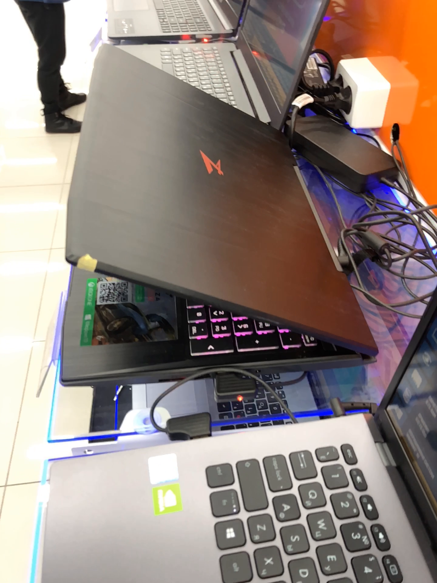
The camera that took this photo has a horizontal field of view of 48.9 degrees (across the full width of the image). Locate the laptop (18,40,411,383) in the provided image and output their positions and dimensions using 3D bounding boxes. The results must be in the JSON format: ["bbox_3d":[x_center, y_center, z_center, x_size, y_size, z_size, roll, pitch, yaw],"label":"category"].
[{"bbox_3d":[-0.023,-0.111,0.465,0.243,0.121,0.366,-5,45,-5],"label":"laptop"}]

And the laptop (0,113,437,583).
[{"bbox_3d":[0.028,0.146,0.132,0.230,0.216,0.353,-8,44,-8],"label":"laptop"}]

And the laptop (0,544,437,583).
[{"bbox_3d":[0.029,0.398,0.278,0.229,0.240,0.360,-5,44,-4],"label":"laptop"}]

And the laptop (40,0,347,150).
[{"bbox_3d":[-0.039,-0.416,0.698,0.318,0.228,0.360,-5,46,-6],"label":"laptop"}]

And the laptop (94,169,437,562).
[{"bbox_3d":[0.017,0.071,0.618,0.286,0.256,0.396,-5,44,-5],"label":"laptop"}]

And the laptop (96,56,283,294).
[{"bbox_3d":[-0.068,-0.242,0.936,0.272,0.270,0.408,-4,45,-6],"label":"laptop"}]
